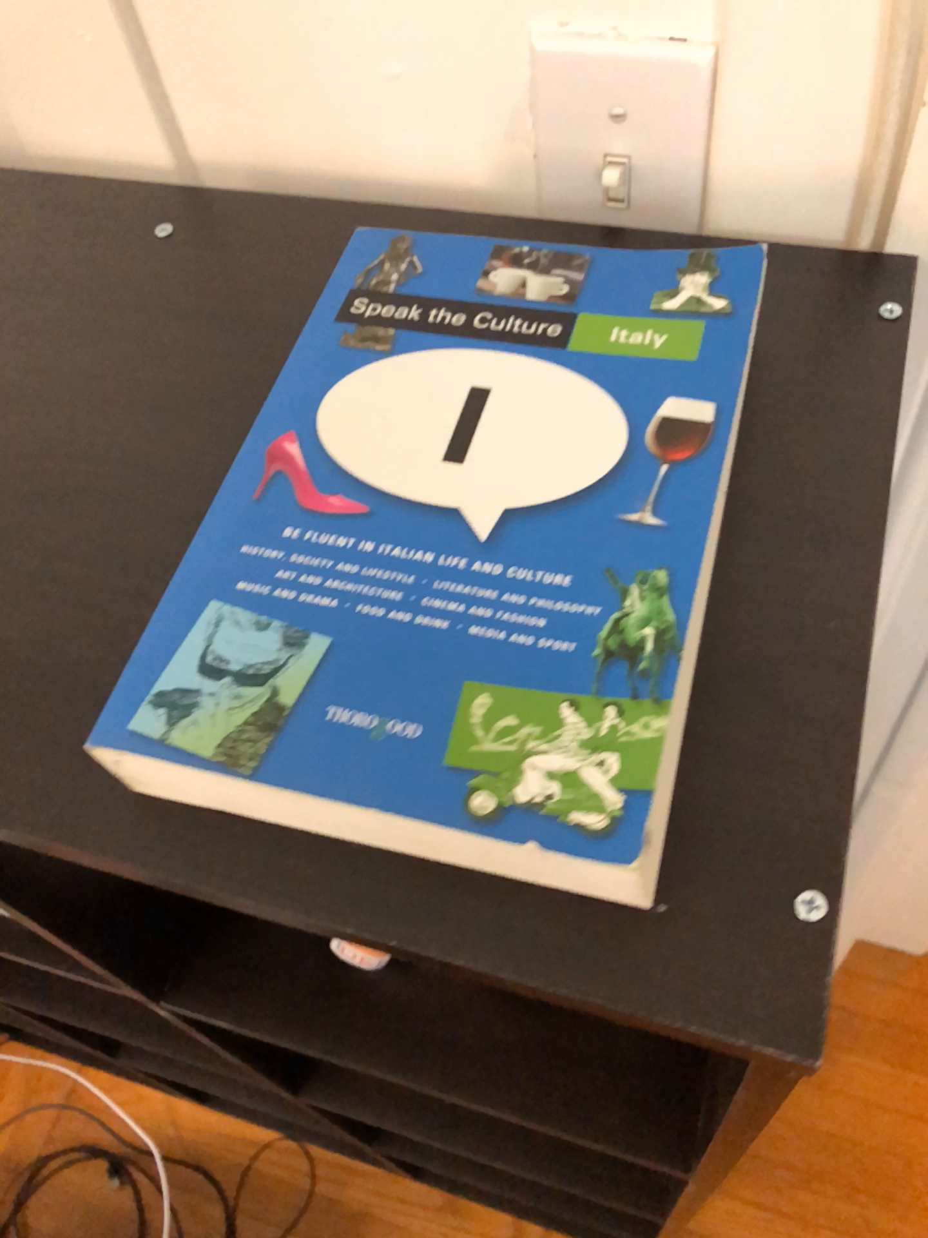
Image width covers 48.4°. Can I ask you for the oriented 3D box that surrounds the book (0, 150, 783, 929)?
[{"bbox_3d":[-0.017,-0.055,0.332,0.200,0.030,0.261,9,59,14],"label":"book"}]
